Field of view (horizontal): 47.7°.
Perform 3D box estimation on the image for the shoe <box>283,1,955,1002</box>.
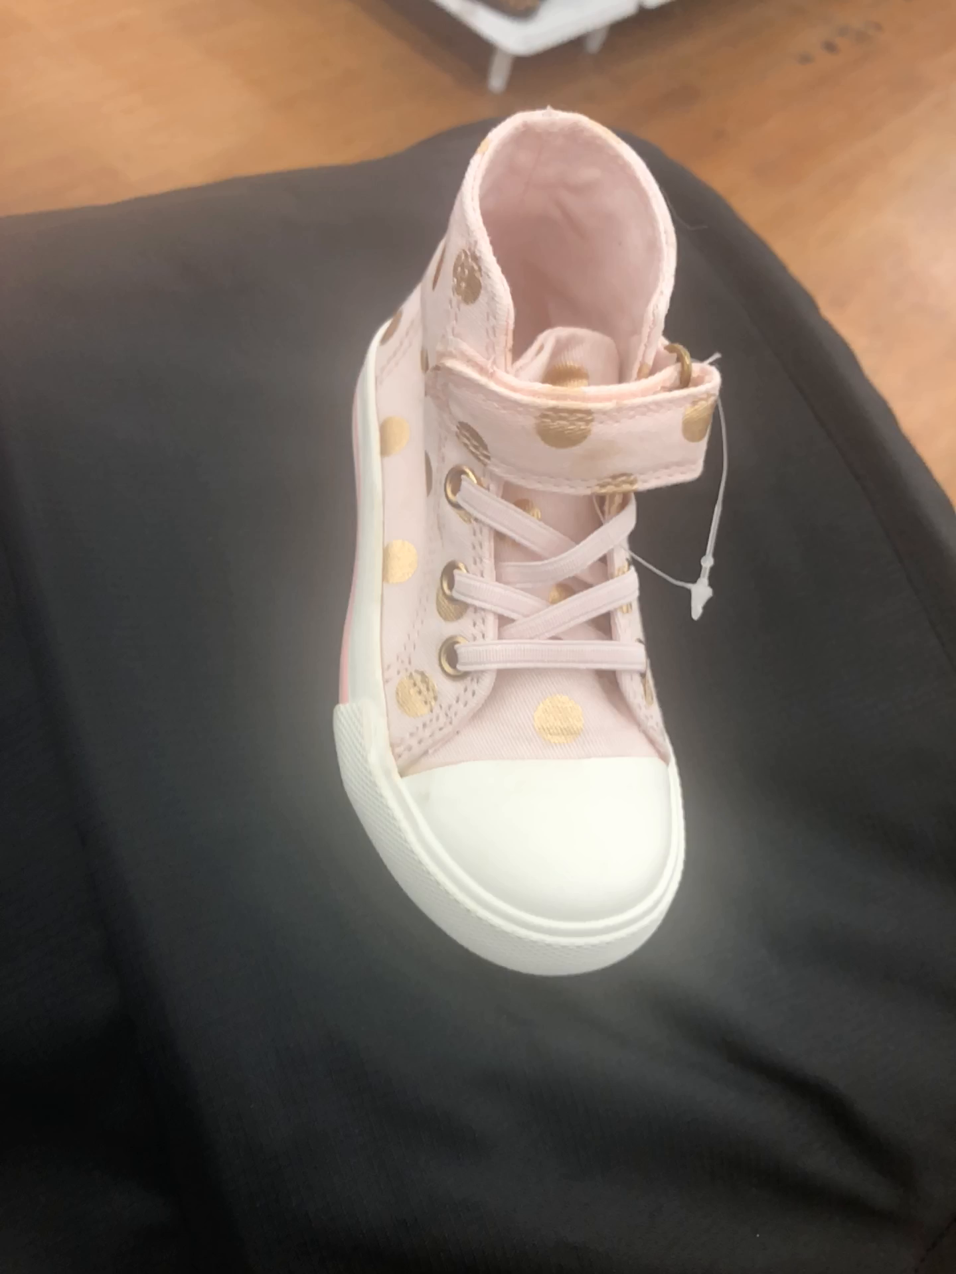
[{"bbox_3d":[0.012,-0.029,0.224,0.080,0.100,0.170,0,57,-18],"label":"shoe"}]
